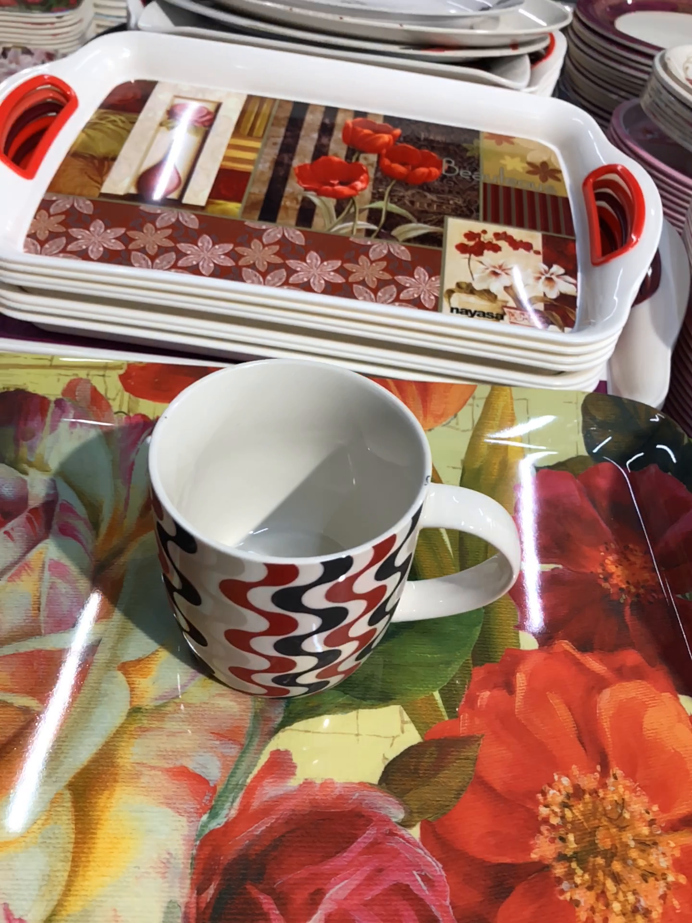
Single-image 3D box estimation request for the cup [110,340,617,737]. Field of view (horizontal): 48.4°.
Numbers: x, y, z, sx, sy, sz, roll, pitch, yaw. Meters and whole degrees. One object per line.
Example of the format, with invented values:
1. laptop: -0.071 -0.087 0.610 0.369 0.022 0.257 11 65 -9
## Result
1. cup: 0.002 0.025 0.256 0.130 0.079 0.091 5 43 -4
